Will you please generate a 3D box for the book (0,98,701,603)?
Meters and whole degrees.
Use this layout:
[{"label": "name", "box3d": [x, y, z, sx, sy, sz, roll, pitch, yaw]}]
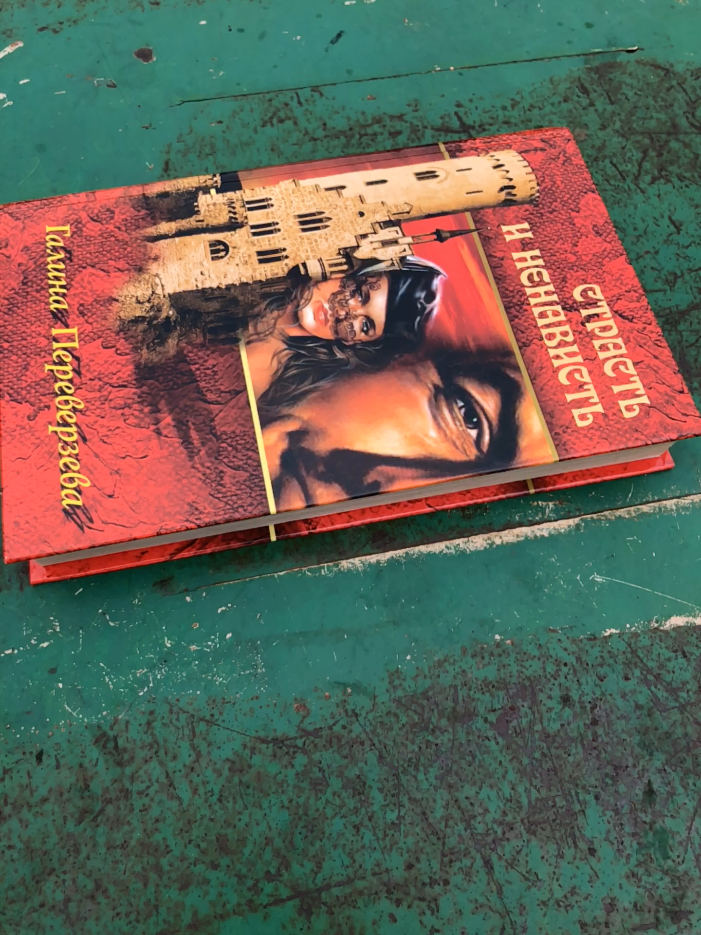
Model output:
[{"label": "book", "box3d": [-0.006, -0.048, 0.263, 0.210, 0.030, 0.144, -10, 67, -6]}]
